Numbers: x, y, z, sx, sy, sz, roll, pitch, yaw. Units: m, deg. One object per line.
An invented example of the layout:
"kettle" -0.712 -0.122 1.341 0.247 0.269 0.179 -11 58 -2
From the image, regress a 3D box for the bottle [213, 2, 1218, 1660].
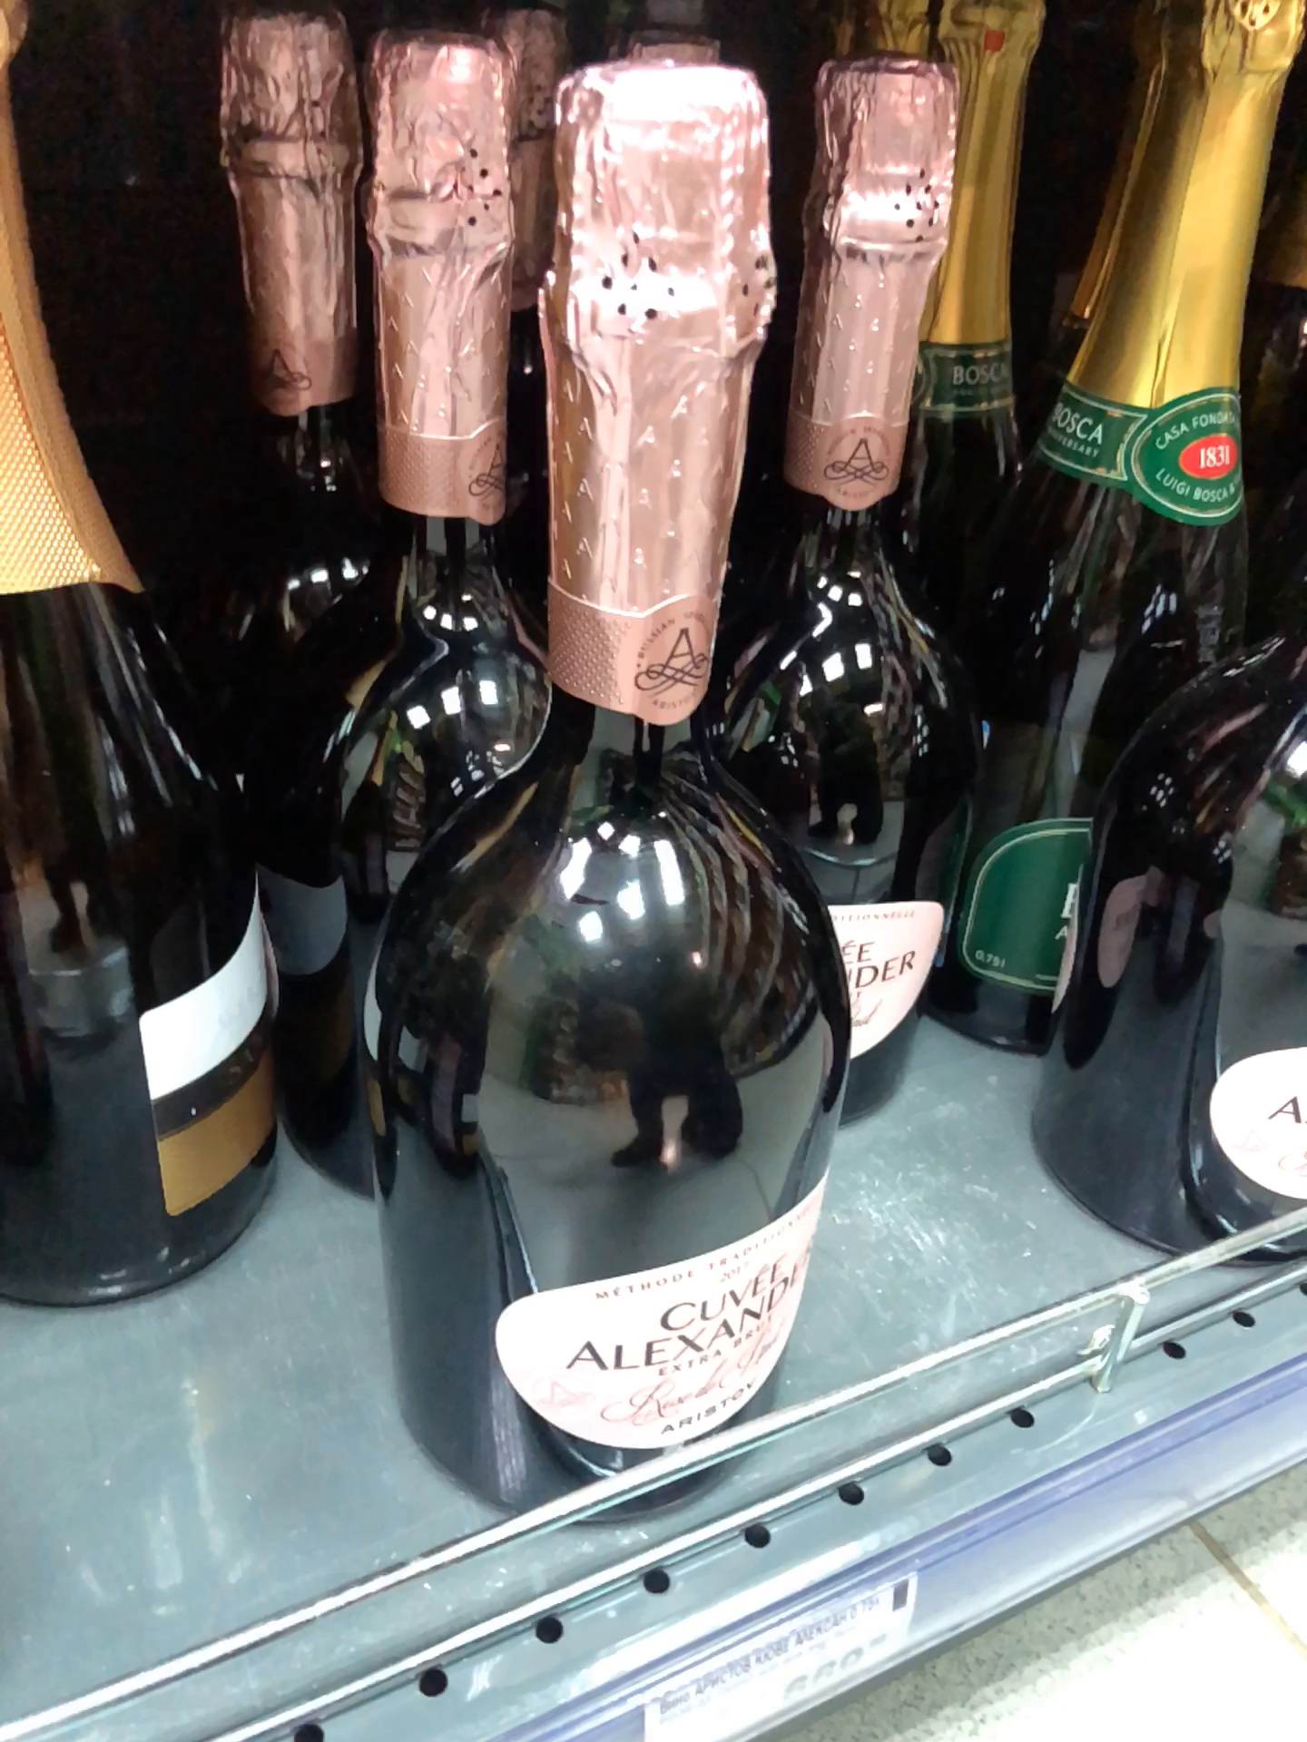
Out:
"bottle" -0.002 0.003 0.274 0.110 0.278 0.090 -15 36 -29
